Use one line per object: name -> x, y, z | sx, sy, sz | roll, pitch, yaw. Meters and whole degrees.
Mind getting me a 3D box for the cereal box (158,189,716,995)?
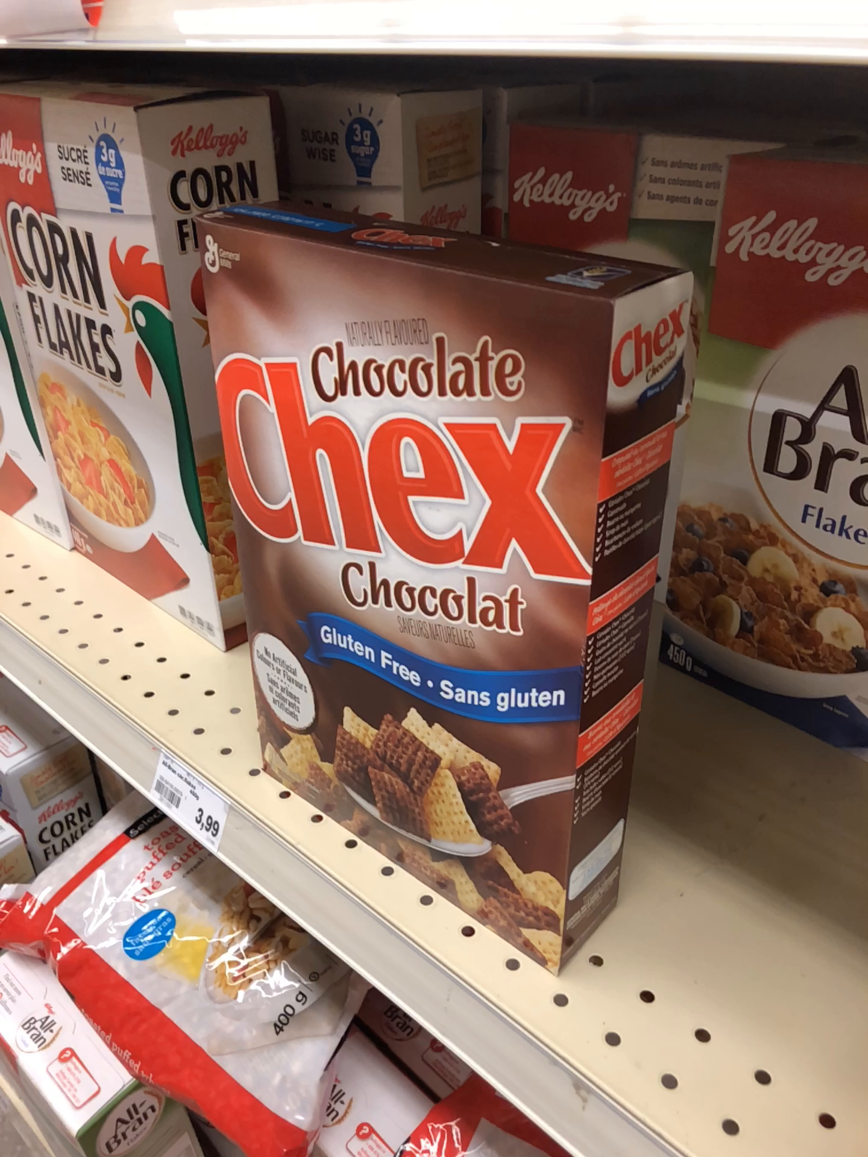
cereal box -> -0.010, 0.002, 0.392 | 0.211, 0.278, 0.050 | 24, 39, 37
